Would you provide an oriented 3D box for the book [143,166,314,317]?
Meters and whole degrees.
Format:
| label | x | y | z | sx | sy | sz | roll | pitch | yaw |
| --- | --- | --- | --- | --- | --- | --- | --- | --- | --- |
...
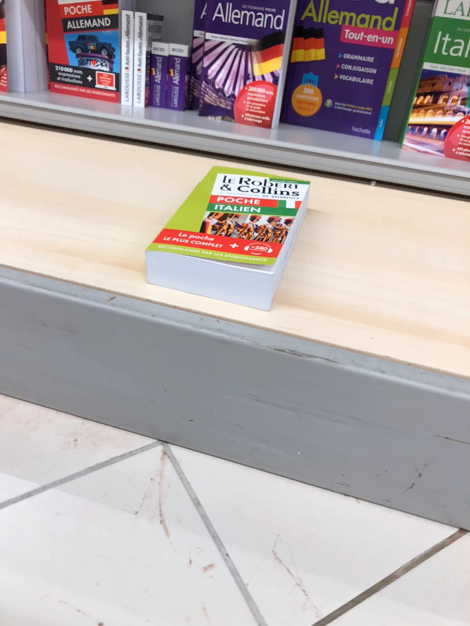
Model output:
| label | x | y | z | sx | sy | sz | roll | pitch | yaw |
| --- | --- | --- | --- | --- | --- | --- | --- | --- | --- |
| book | 0.002 | -0.076 | 0.481 | 0.110 | 0.040 | 0.176 | 13 | 39 | 10 |
